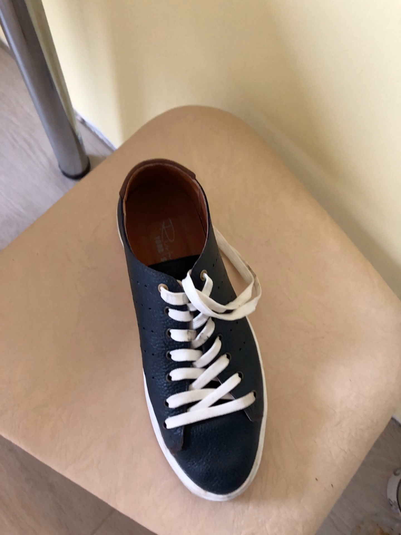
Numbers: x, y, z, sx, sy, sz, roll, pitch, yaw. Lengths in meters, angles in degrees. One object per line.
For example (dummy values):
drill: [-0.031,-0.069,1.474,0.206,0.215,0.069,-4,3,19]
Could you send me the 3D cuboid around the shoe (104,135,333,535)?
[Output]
shoe: [0.000,0.048,0.366,0.110,0.090,0.291,-9,74,-9]
